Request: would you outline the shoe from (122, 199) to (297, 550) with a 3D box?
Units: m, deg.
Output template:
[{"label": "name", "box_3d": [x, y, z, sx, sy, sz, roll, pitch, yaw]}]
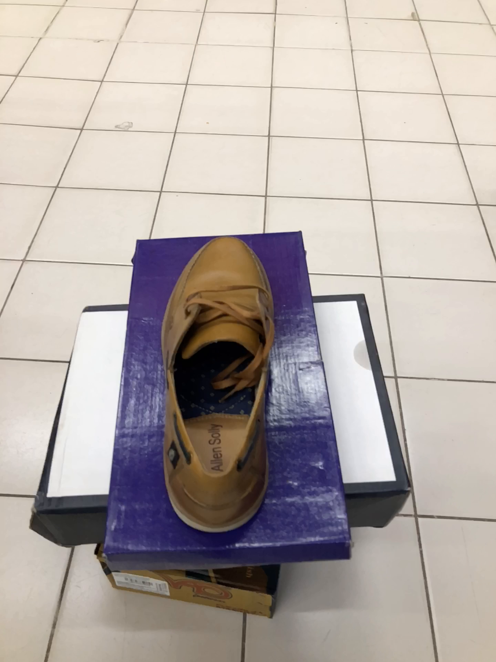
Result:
[{"label": "shoe", "box_3d": [-0.024, 0.023, 0.434, 0.100, 0.109, 0.261, 0, 52, -2]}]
